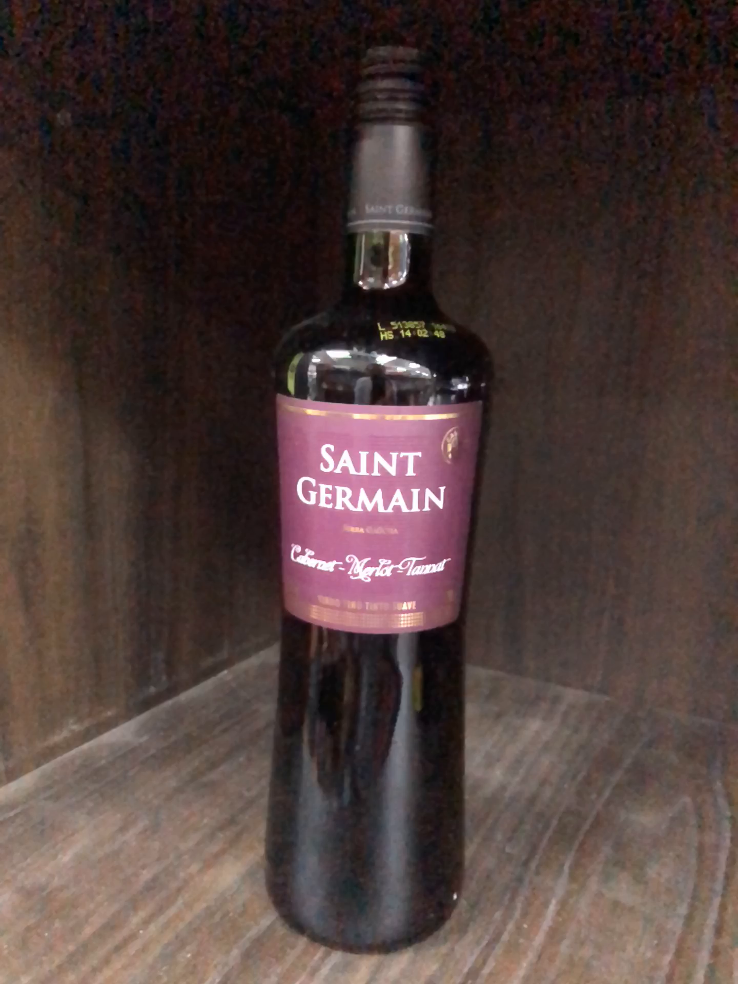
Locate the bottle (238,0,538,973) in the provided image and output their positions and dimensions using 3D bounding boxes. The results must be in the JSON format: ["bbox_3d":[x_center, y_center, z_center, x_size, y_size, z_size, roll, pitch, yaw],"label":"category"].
[{"bbox_3d":[0.000,0.002,0.284,0.080,0.309,0.070,2,10,-2],"label":"bottle"}]
